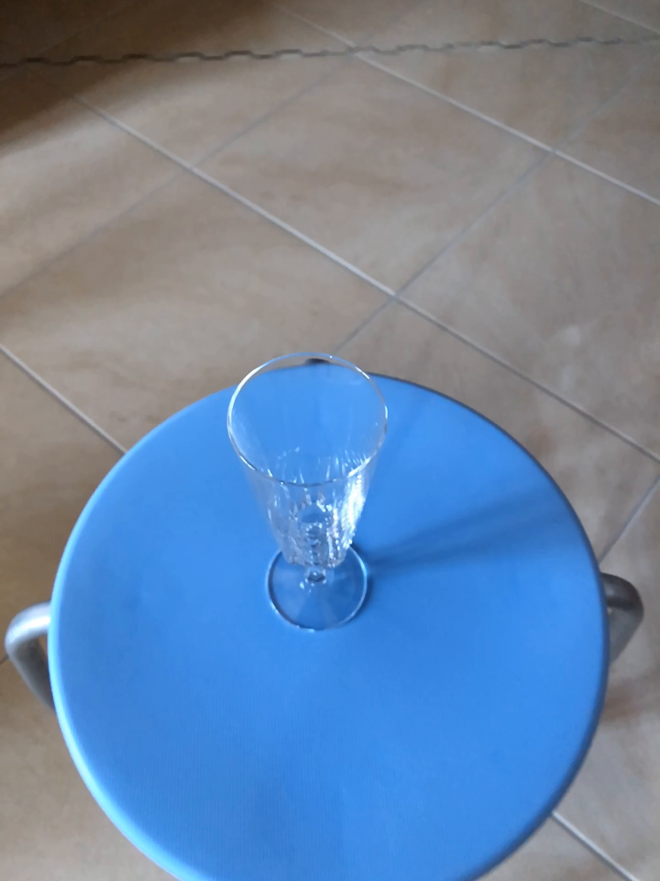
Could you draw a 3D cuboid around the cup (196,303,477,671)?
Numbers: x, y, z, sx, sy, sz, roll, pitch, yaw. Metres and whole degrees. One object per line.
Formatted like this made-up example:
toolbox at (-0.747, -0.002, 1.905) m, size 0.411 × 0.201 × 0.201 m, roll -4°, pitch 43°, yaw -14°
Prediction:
cup at (0.002, 0.035, 0.354) m, size 0.080 × 0.179 × 0.070 m, roll -35°, pitch 65°, yaw -20°
